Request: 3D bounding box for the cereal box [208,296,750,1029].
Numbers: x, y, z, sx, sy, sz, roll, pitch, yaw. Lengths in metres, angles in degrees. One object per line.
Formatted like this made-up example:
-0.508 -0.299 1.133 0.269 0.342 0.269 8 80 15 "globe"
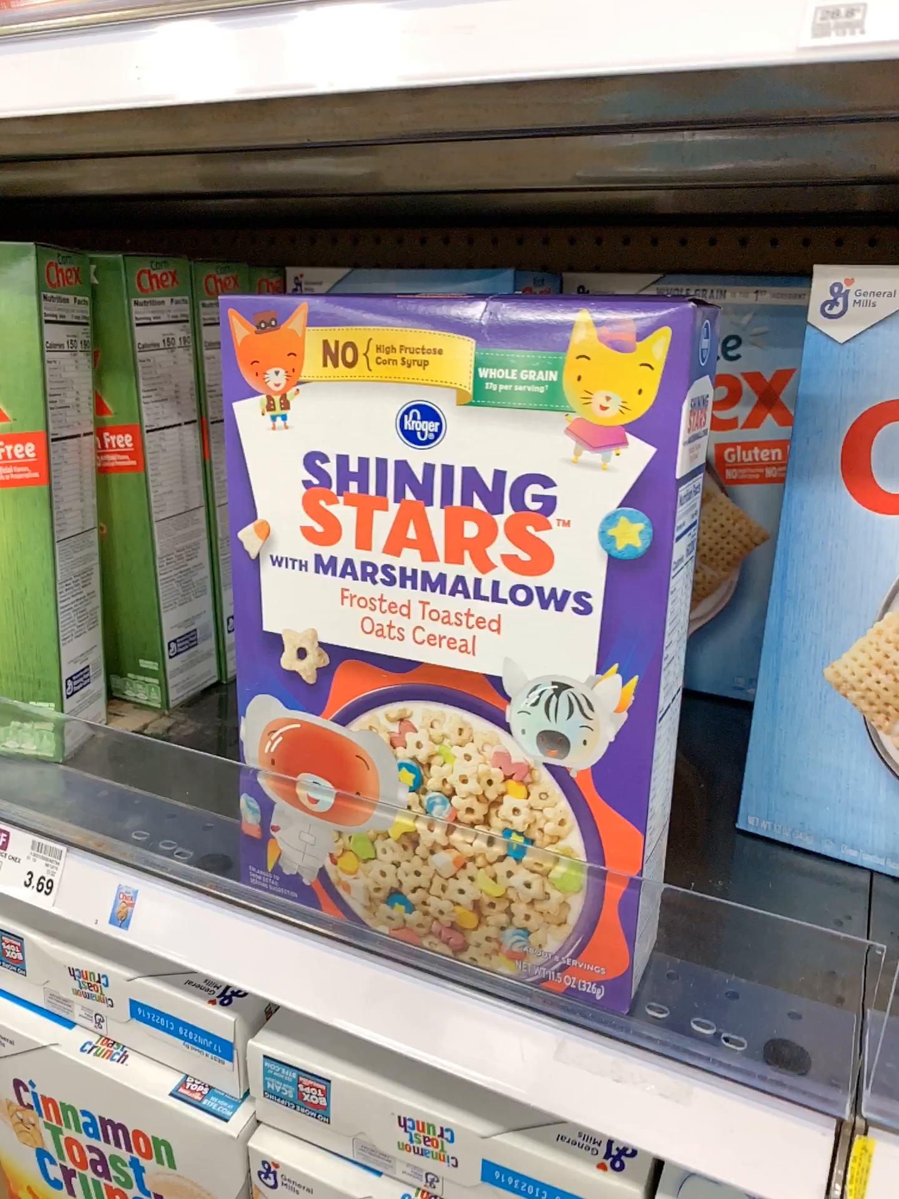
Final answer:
0.003 0.017 0.385 0.200 0.269 0.050 8 17 23 "cereal box"
